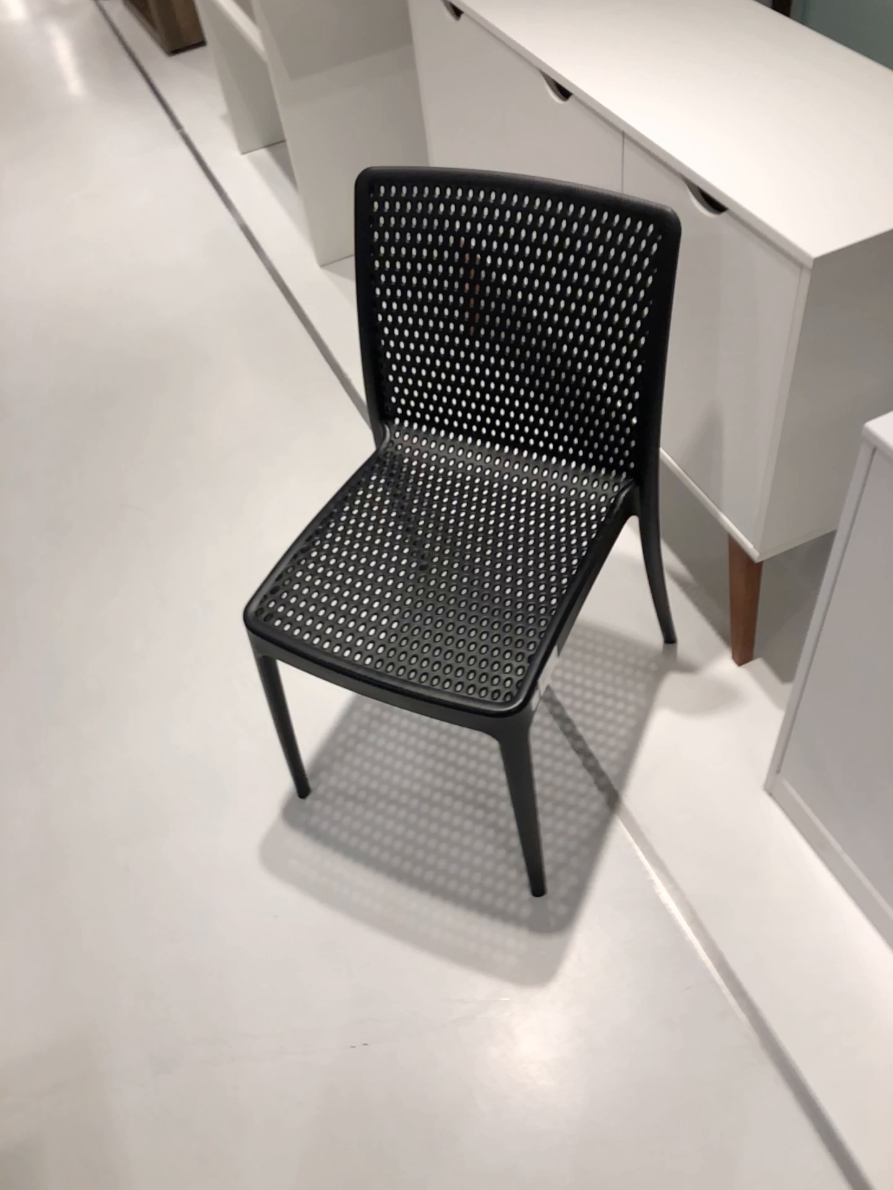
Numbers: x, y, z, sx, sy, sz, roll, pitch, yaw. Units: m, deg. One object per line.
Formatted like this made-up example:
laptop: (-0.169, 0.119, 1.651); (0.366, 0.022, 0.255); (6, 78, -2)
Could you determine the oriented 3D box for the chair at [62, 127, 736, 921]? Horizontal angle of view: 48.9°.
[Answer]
chair: (0.022, -0.072, 1.406); (0.531, 0.865, 0.603); (16, 55, 21)
